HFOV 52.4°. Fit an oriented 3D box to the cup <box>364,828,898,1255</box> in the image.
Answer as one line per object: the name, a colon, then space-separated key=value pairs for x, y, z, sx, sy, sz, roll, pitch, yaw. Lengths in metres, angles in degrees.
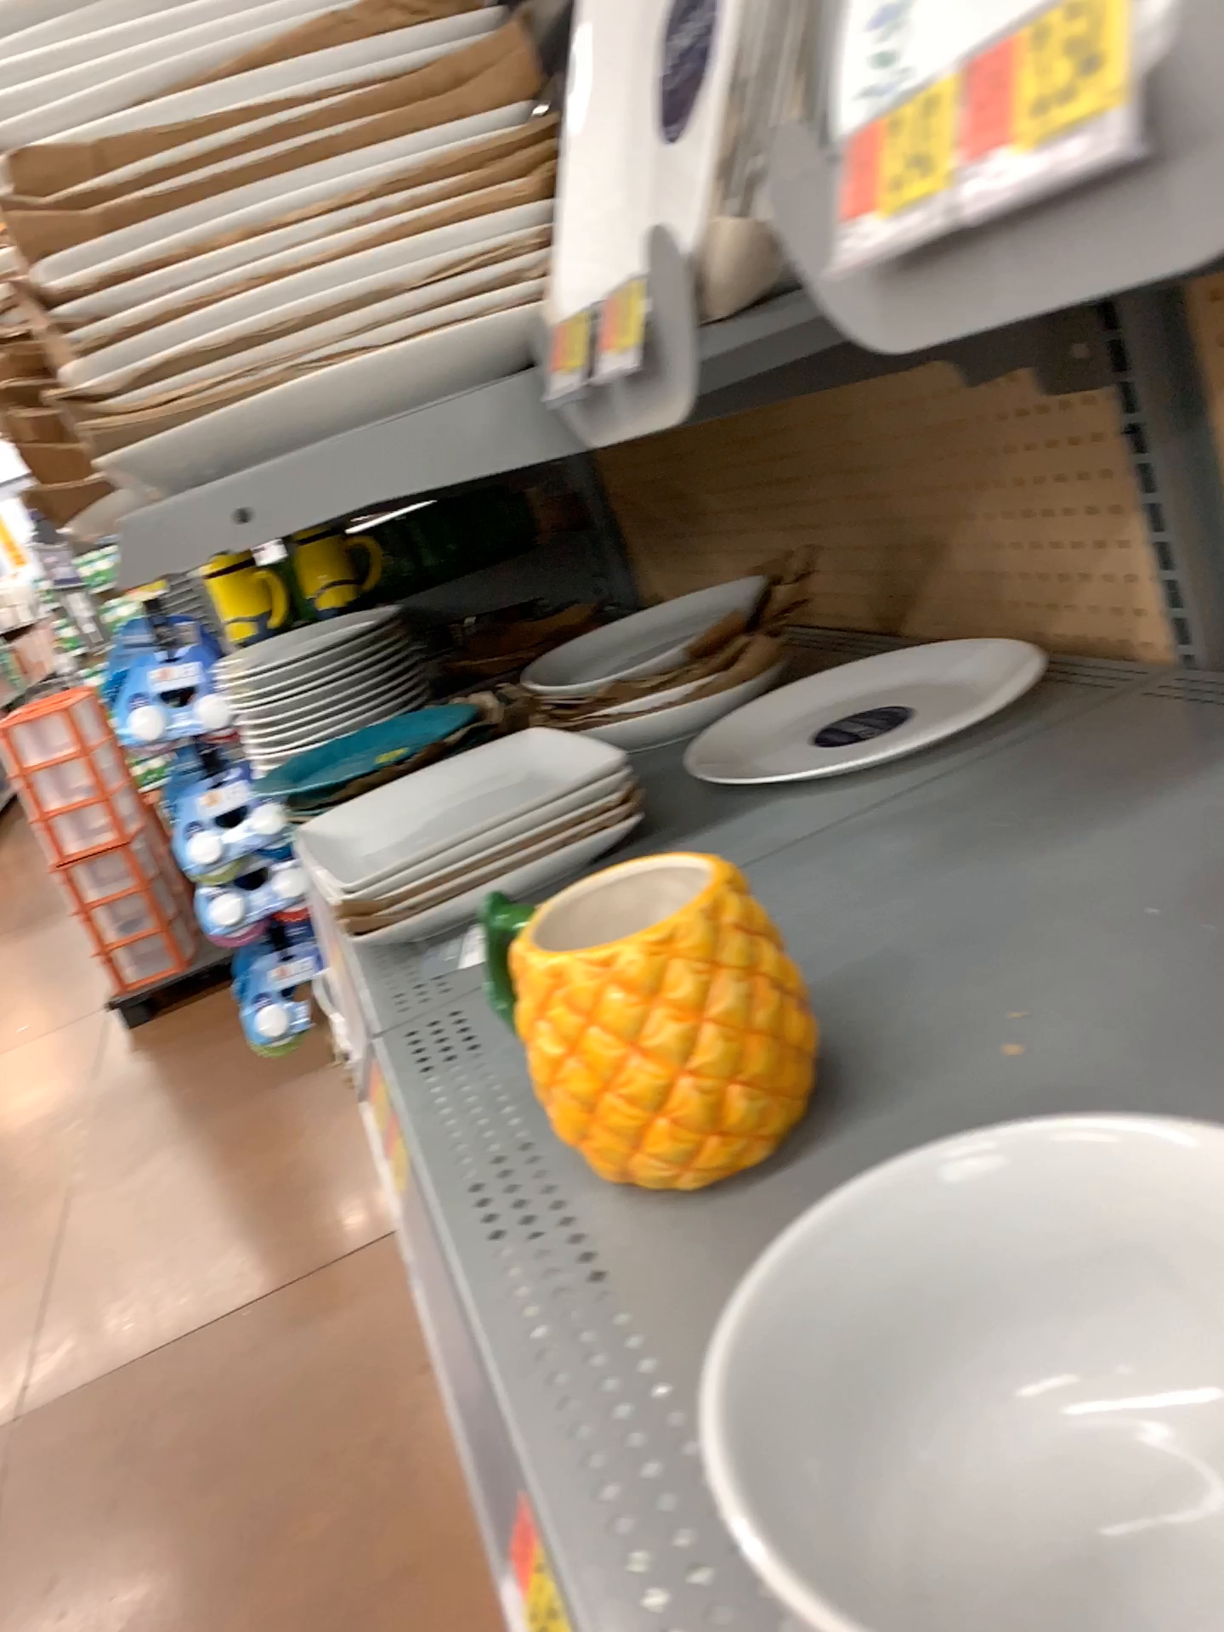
cup: x=0.003 y=0.074 z=0.478 sx=0.100 sy=0.100 sz=0.160 roll=-32 pitch=20 yaw=-35
